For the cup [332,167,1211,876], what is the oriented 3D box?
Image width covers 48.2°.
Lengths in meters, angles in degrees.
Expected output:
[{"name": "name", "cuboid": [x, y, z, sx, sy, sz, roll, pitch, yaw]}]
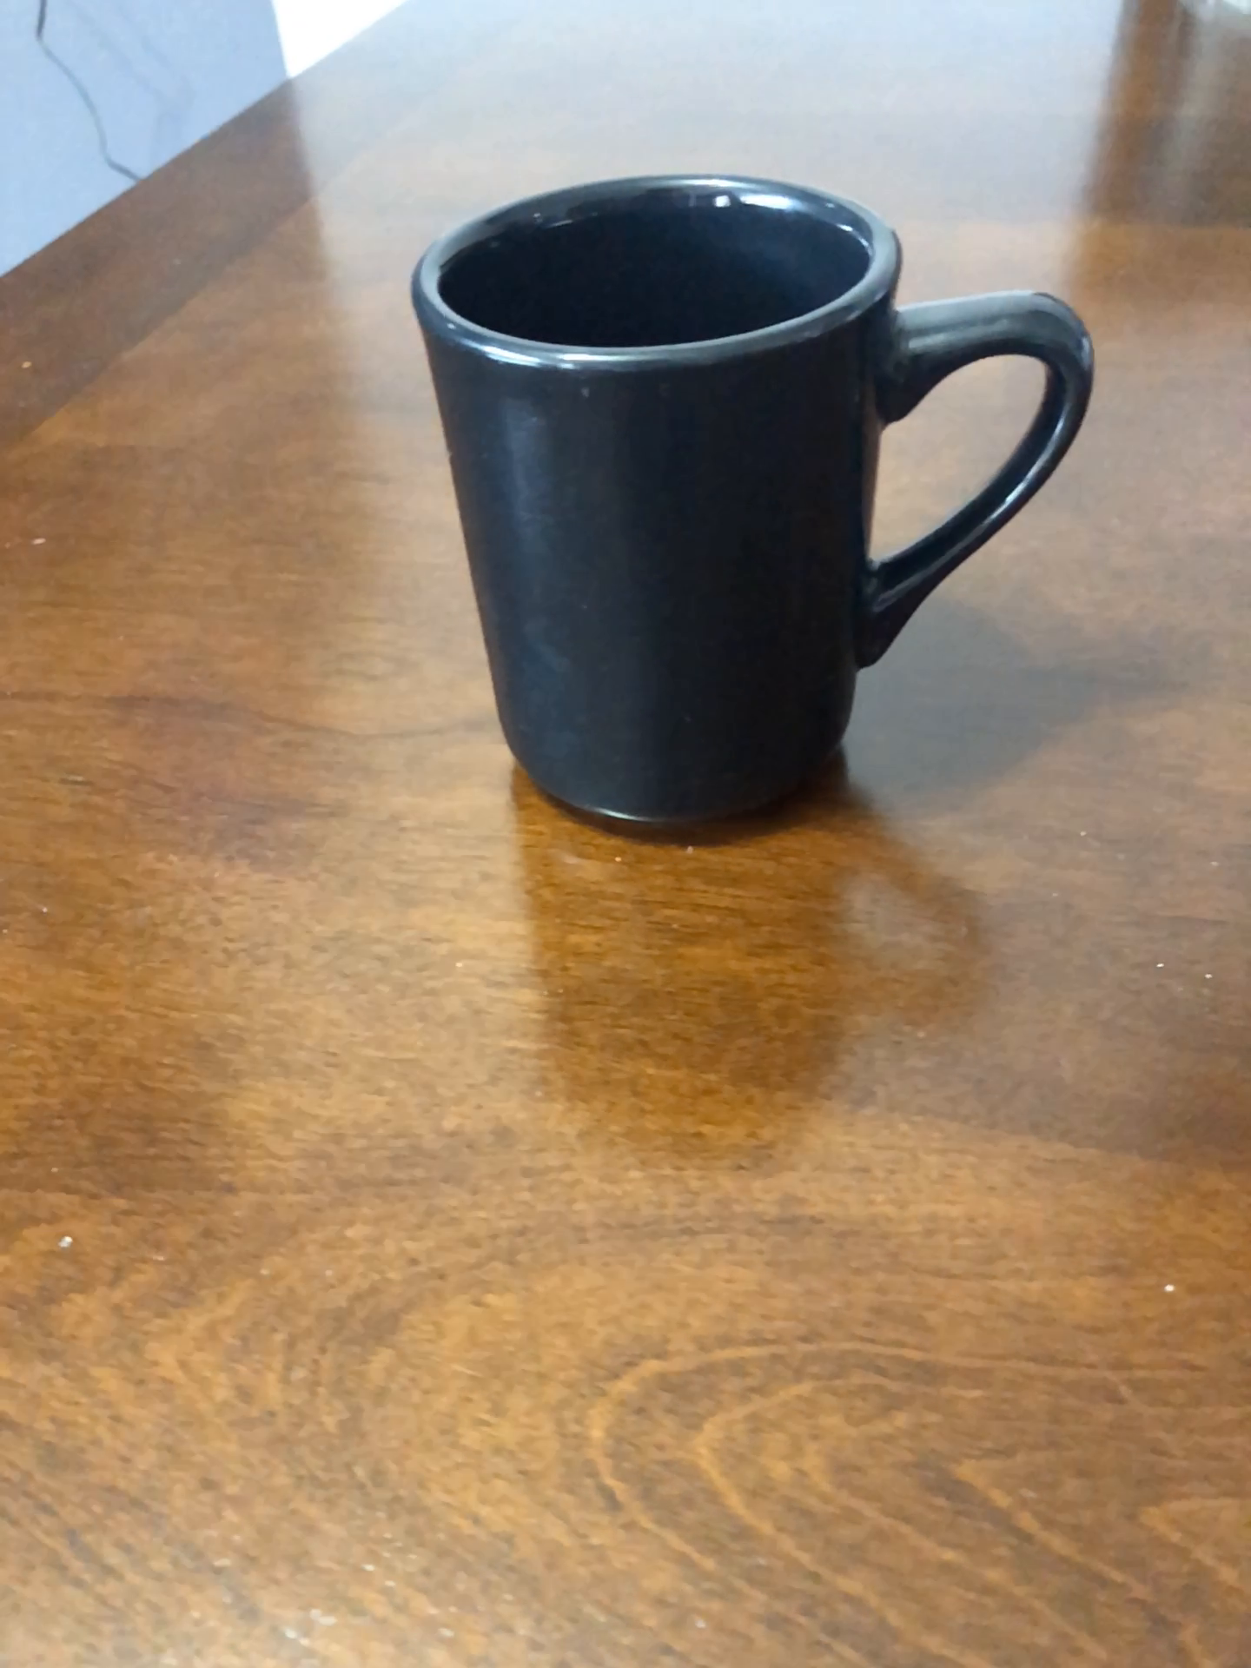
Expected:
[{"name": "cup", "cuboid": [0.024, -0.056, 0.255, 0.120, 0.090, 0.090, -1, 42, 5]}]
